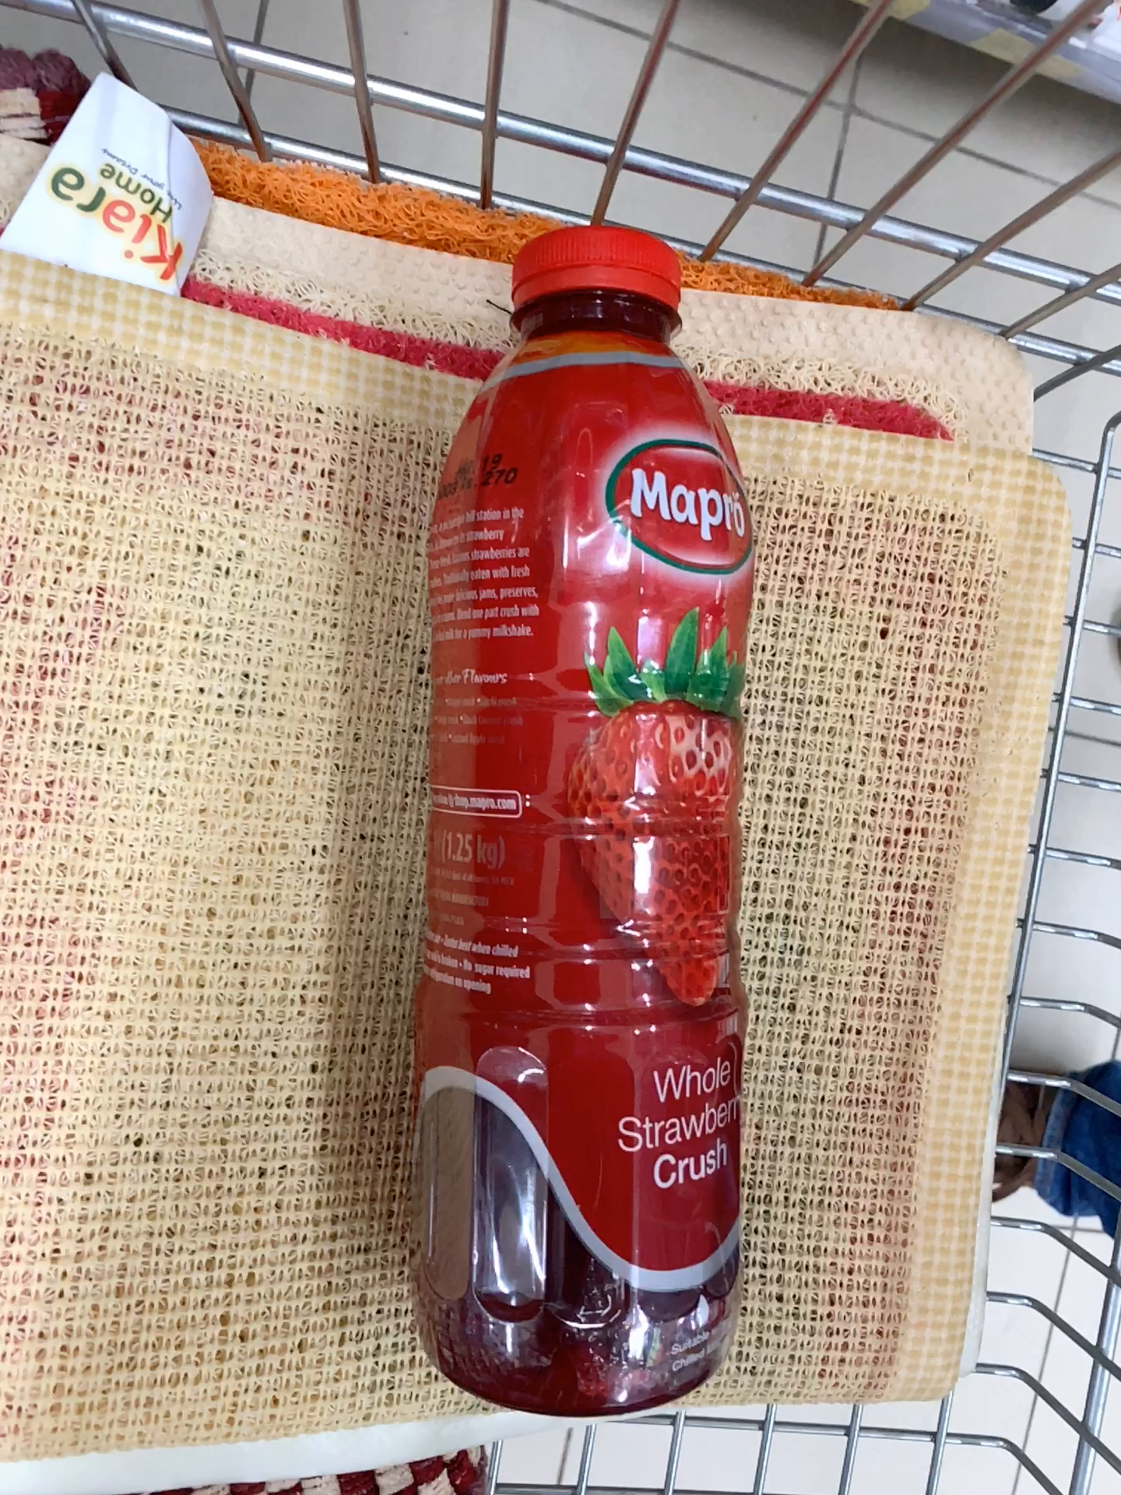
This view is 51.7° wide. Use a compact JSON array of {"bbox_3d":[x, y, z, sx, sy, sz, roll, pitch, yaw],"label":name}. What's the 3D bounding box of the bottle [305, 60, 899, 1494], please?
[{"bbox_3d":[0.008,0.009,0.254,0.090,0.070,0.250,1,94,-39],"label":"bottle"}]
